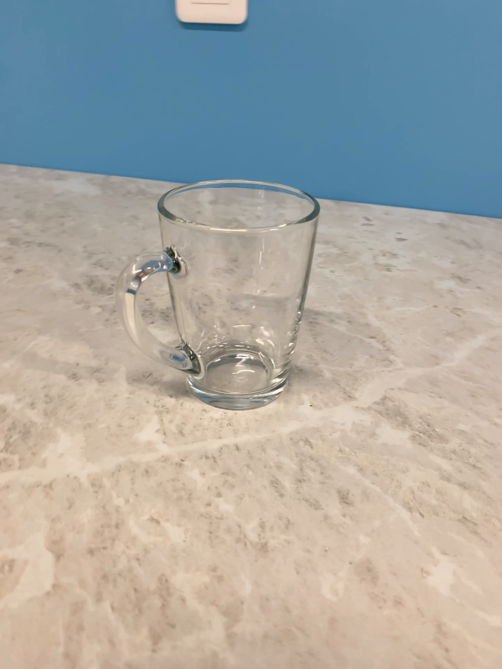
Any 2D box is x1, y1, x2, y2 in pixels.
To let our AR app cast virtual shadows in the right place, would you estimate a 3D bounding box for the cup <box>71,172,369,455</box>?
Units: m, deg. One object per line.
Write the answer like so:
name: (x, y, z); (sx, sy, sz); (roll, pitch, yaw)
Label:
cup: (-0.017, -0.021, 0.276); (0.116, 0.097, 0.089); (-18, 36, -29)
